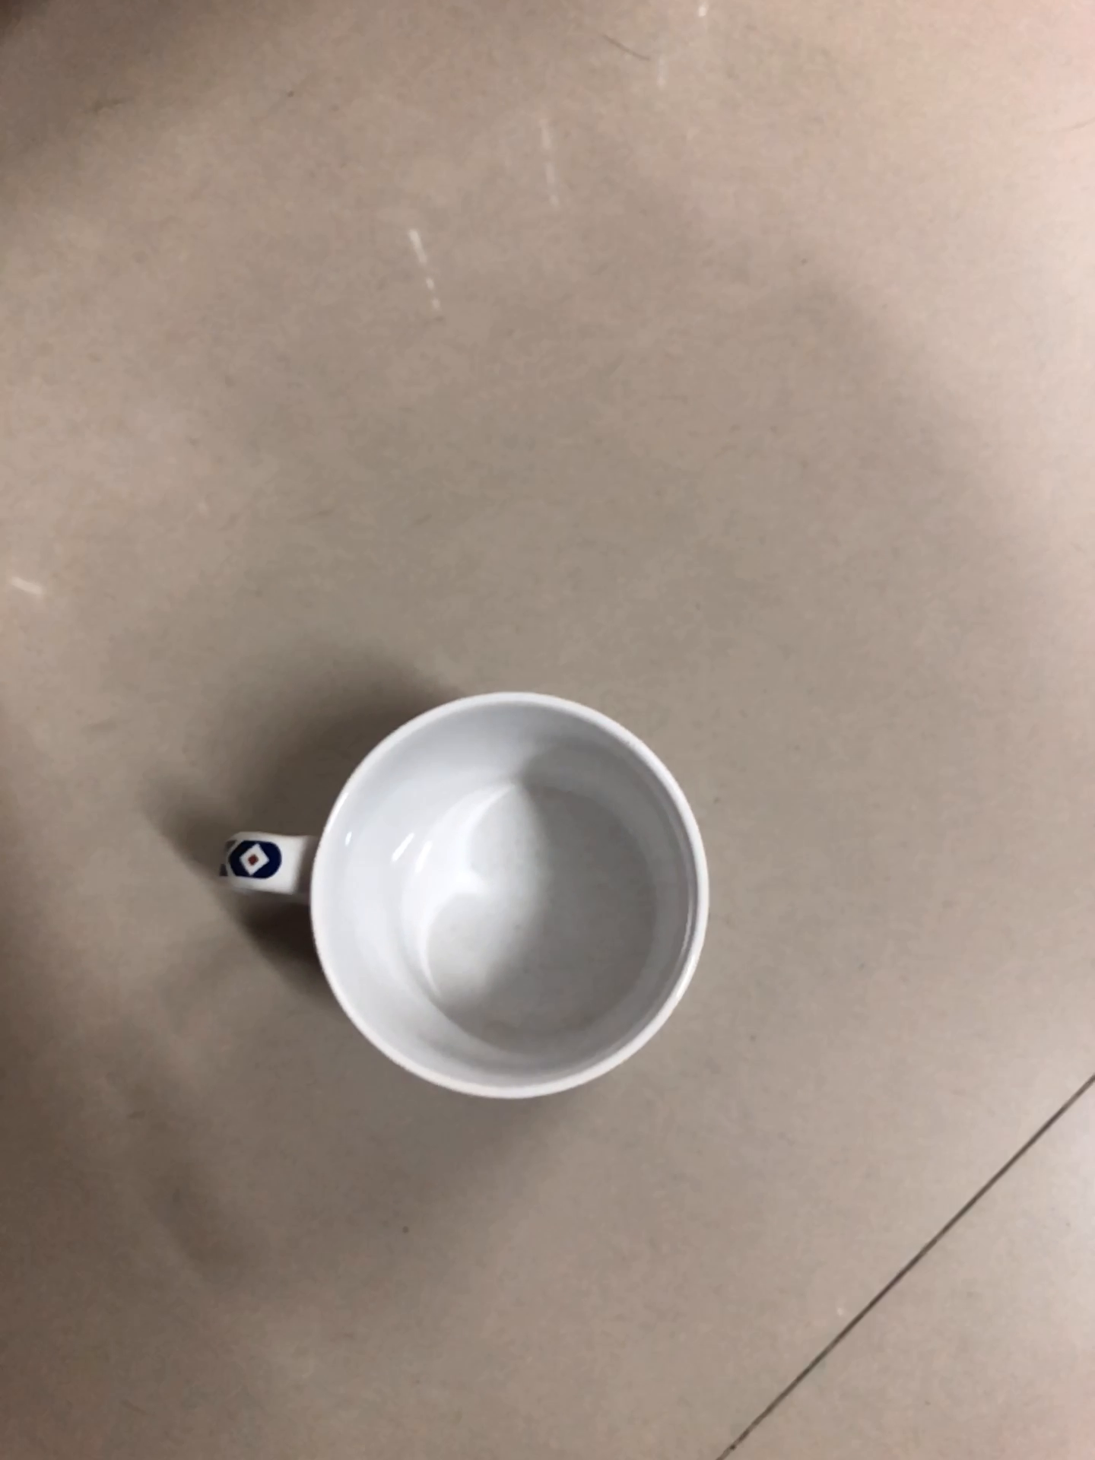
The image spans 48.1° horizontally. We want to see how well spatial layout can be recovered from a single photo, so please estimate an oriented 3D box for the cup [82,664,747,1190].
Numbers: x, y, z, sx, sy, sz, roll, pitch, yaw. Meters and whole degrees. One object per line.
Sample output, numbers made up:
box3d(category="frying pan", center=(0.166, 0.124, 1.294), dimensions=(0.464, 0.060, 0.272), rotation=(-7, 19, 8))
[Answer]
box3d(category="cup", center=(-0.021, 0.041, 0.261), dimensions=(0.110, 0.080, 0.080), rotation=(7, 78, 5))
